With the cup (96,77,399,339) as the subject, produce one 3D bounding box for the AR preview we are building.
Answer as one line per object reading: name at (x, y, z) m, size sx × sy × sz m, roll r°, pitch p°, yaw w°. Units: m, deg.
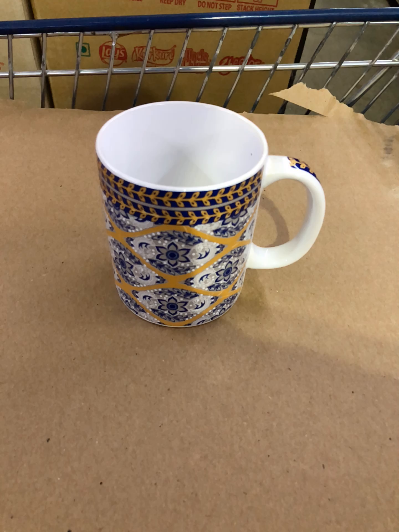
cup at (0.013, -0.032, 0.232) m, size 0.120 × 0.099 × 0.080 m, roll -6°, pitch 43°, yaw -9°
